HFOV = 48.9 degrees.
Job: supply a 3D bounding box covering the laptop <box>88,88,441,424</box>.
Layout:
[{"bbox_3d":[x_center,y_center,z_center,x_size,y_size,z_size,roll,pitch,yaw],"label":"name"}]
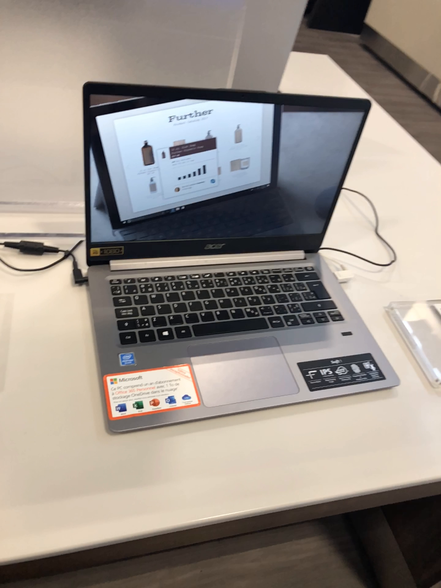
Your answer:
[{"bbox_3d":[0.034,-0.048,0.490,0.306,0.205,0.225,-5,46,-20],"label":"laptop"}]
